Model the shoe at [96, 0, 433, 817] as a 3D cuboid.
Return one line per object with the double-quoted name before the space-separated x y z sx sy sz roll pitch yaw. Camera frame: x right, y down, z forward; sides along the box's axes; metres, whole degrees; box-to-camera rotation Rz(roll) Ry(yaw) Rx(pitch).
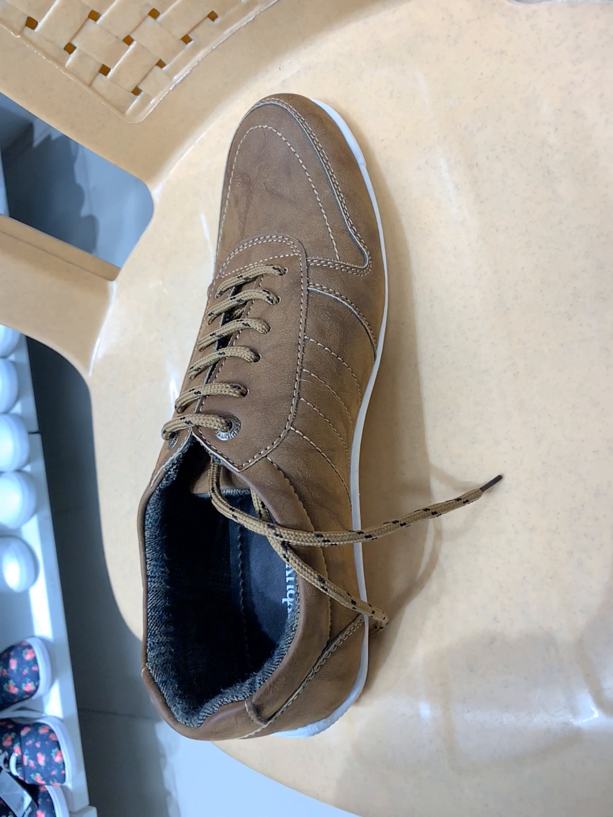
"shoe" -0.010 -0.006 0.301 0.101 0.100 0.310 -8 74 40
